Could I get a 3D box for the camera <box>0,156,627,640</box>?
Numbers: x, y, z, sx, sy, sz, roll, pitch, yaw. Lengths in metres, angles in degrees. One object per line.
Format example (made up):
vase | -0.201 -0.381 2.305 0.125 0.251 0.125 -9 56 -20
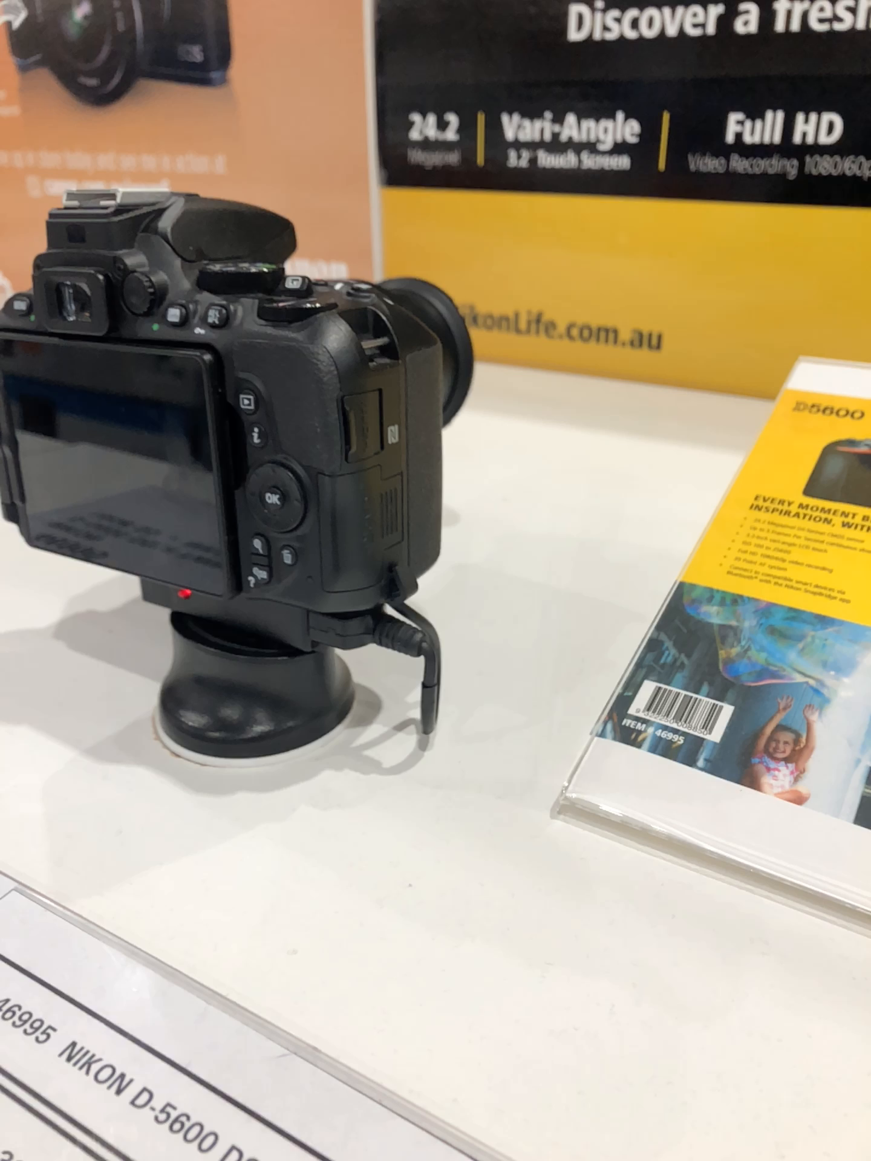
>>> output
camera | -0.035 -0.074 0.300 0.127 0.097 0.163 14 29 29
